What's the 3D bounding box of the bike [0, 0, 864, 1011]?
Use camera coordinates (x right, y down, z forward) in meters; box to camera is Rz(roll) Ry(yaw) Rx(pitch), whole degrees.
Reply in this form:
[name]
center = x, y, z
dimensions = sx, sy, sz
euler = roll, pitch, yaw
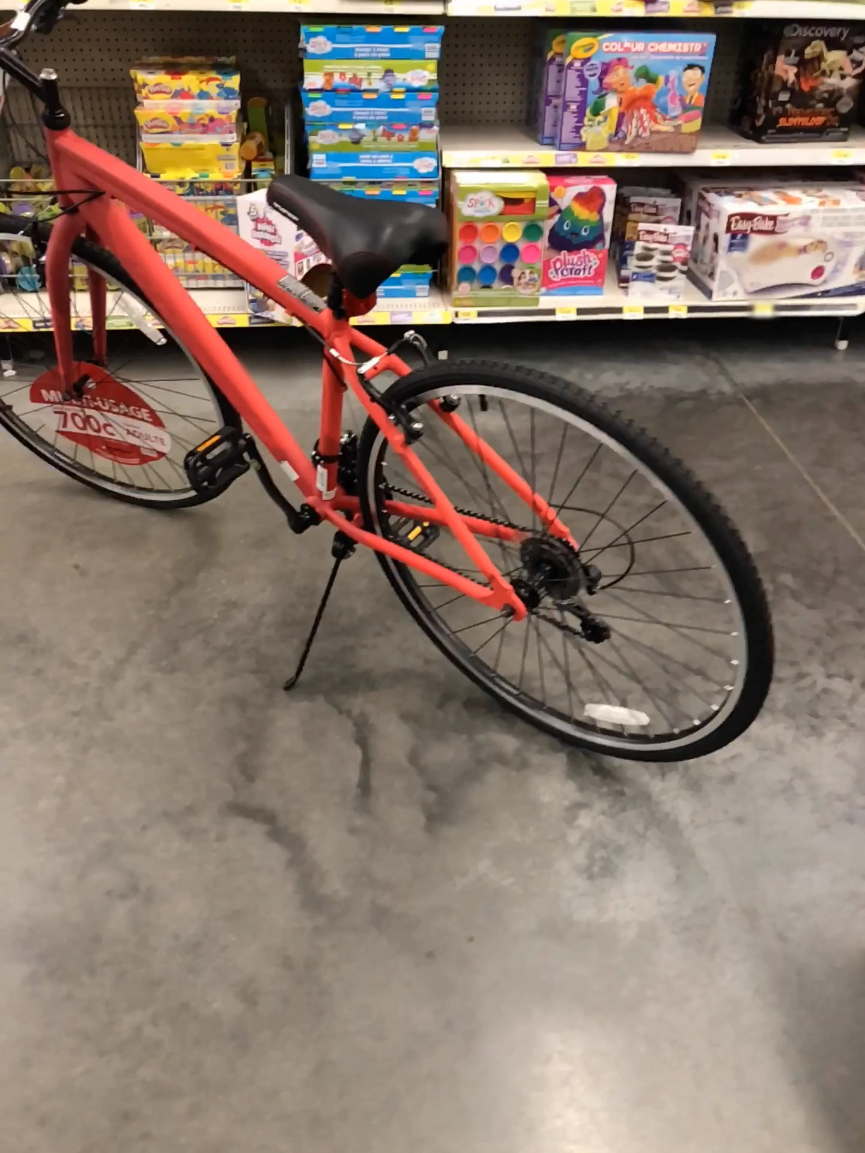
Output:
[bike]
center = -0.297, -0.287, 1.481
dimensions = 1.691, 1.000, 0.615
euler = 22, 41, 28
